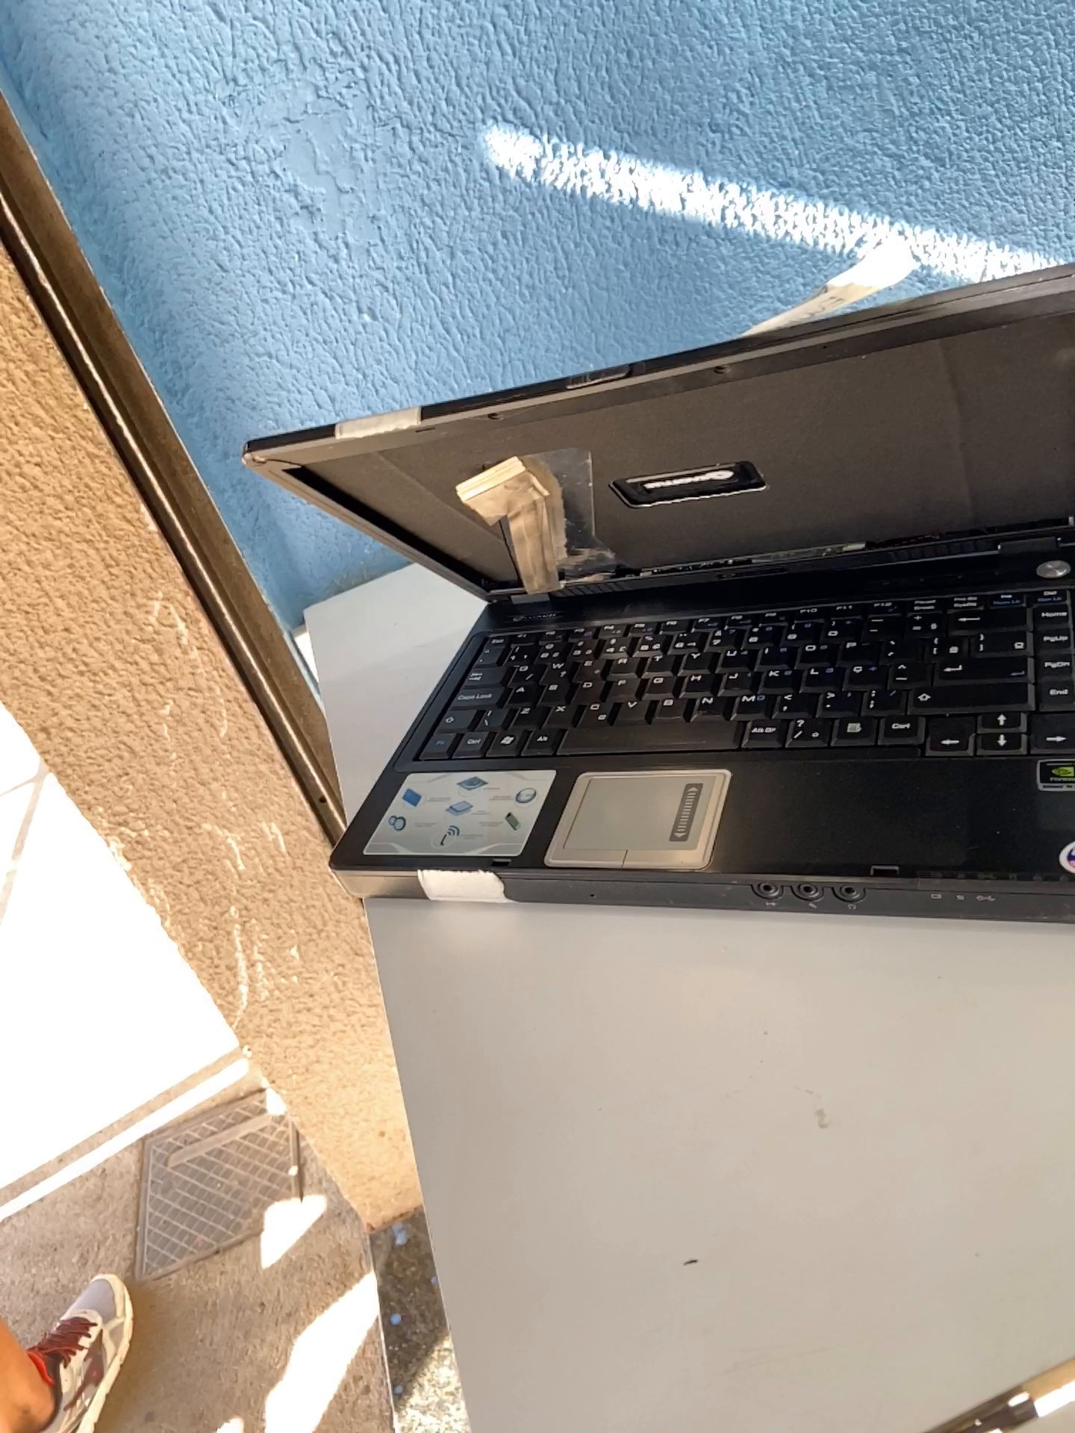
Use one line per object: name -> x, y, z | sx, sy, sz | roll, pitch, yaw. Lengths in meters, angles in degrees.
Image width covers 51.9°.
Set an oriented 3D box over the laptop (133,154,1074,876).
laptop -> 0.059, -0.077, 0.470 | 0.328, 0.175, 0.225 | -3, 36, 25
